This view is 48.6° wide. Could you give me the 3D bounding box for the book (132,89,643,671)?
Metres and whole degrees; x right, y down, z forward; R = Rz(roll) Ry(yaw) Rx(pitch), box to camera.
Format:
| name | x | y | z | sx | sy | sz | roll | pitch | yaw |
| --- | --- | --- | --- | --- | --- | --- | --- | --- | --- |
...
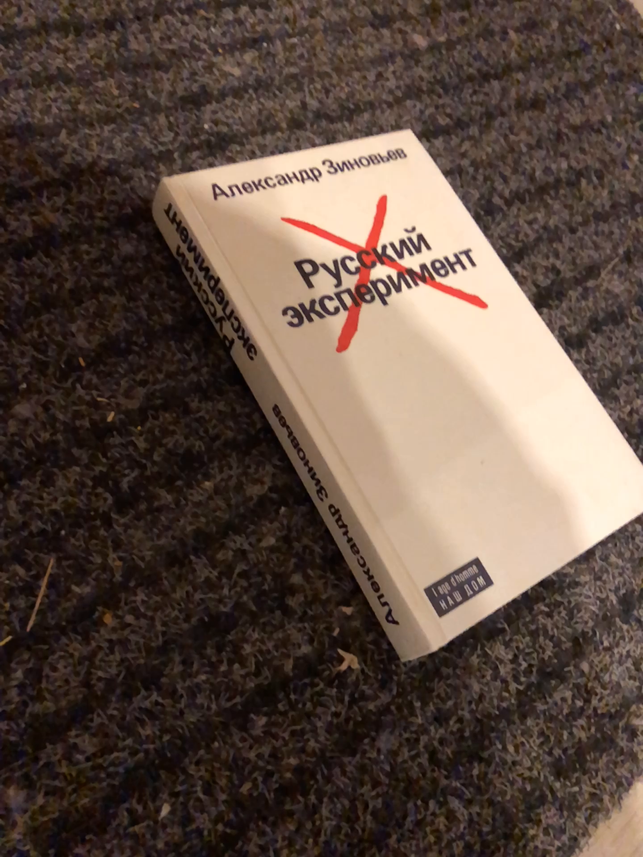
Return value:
| name | x | y | z | sx | sy | sz | roll | pitch | yaw |
| --- | --- | --- | --- | --- | --- | --- | --- | --- | --- |
| book | 0.029 | -0.031 | 0.261 | 0.120 | 0.040 | 0.190 | -23 | 75 | -27 |
